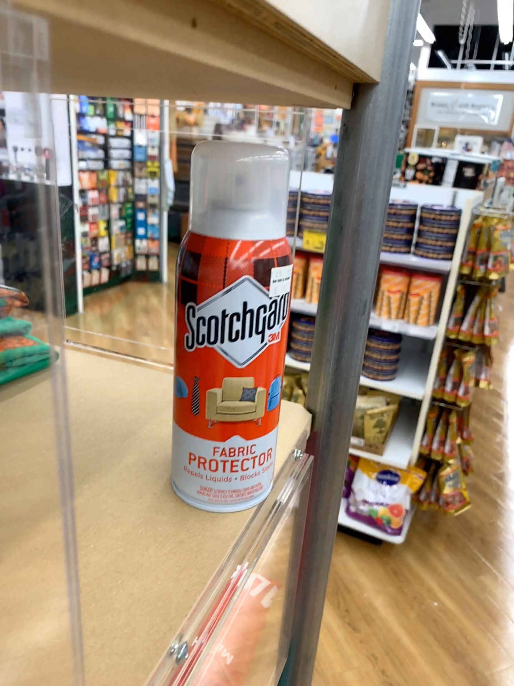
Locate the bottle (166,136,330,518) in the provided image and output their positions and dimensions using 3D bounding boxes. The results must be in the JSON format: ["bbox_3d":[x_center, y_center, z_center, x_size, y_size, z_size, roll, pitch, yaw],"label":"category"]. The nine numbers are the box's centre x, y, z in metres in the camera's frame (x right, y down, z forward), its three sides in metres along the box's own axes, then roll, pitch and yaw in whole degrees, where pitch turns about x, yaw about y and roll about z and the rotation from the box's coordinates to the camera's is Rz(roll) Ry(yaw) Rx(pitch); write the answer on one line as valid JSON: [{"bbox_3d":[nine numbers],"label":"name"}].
[{"bbox_3d":[-0.014,-0.007,0.310,0.069,0.206,0.067,4,21,-2],"label":"bottle"}]
